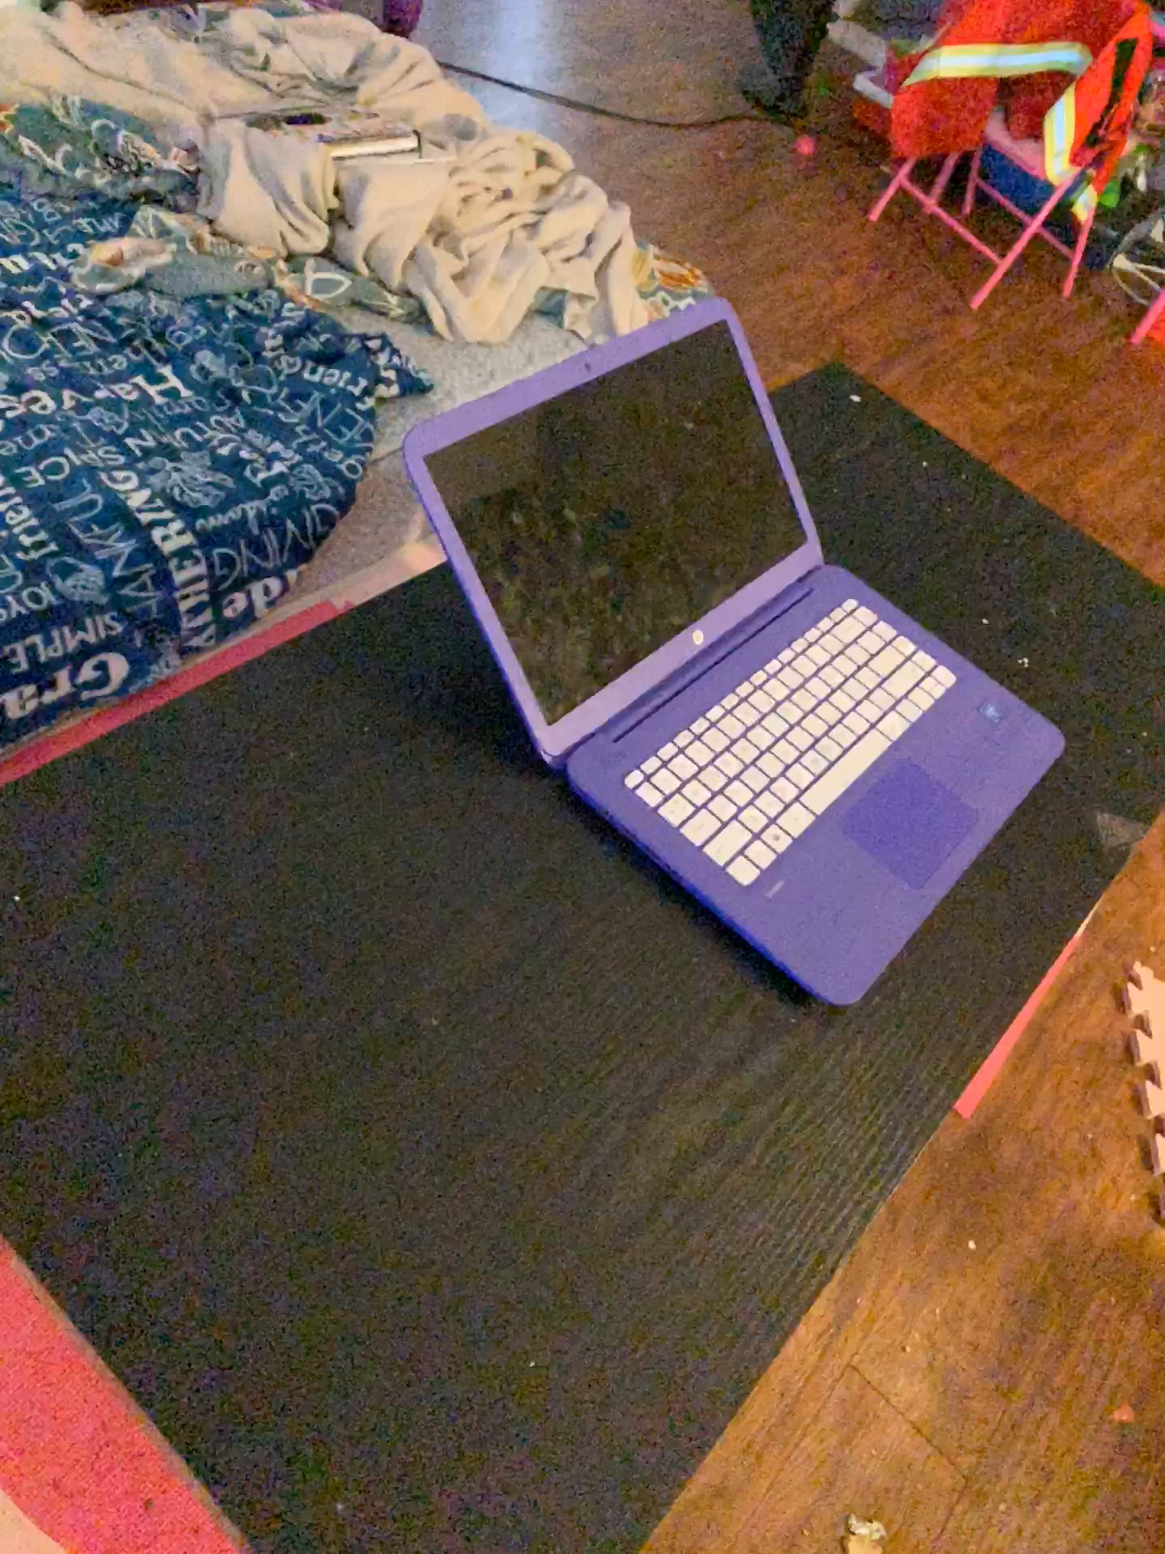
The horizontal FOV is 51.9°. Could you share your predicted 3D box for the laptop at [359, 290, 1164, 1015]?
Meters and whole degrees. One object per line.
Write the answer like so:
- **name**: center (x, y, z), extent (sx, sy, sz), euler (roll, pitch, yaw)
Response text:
- **laptop**: center (0.123, -0.113, 0.785), extent (0.397, 0.132, 0.341), euler (41, 51, 15)
